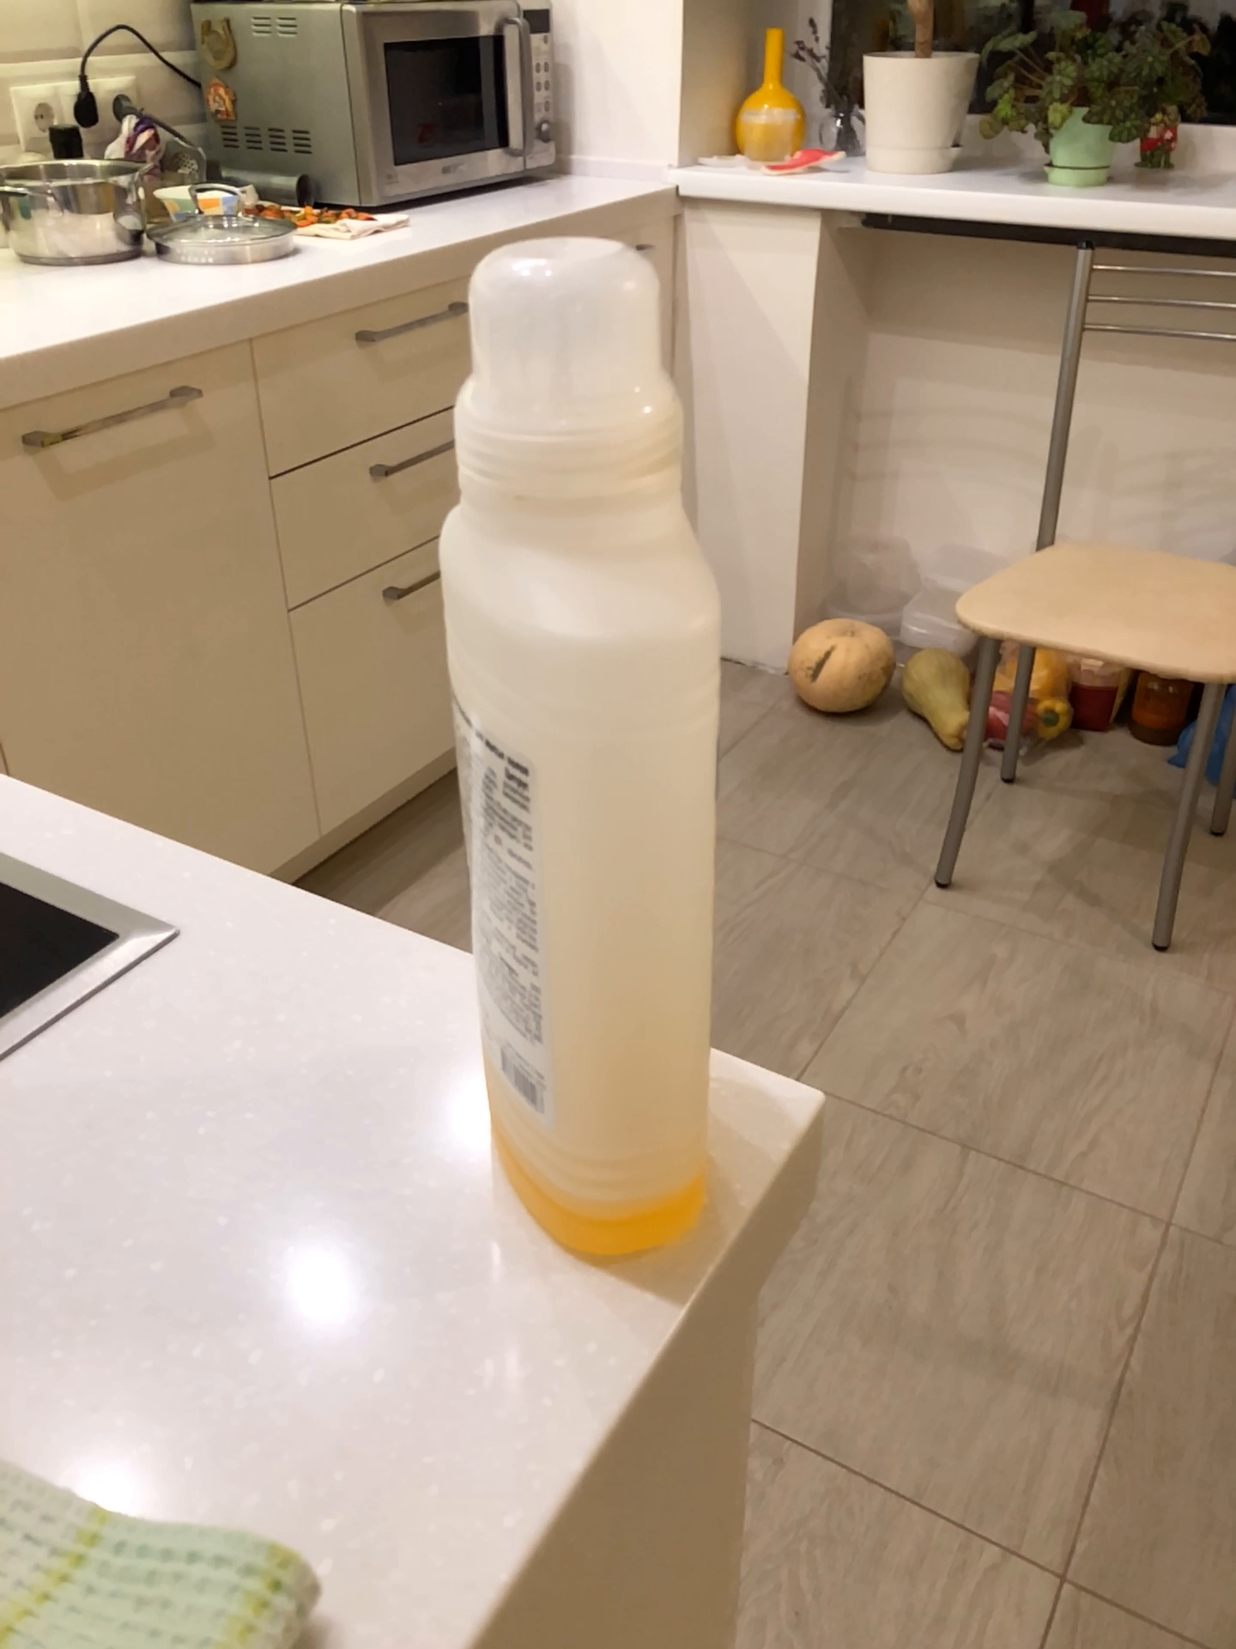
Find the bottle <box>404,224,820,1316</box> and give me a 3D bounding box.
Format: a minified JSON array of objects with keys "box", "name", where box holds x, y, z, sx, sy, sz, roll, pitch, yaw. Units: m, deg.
[{"box":[-0.004,-0.007,0.358,0.061,0.264,0.102,-10,32,-15],"name":"bottle"}]
